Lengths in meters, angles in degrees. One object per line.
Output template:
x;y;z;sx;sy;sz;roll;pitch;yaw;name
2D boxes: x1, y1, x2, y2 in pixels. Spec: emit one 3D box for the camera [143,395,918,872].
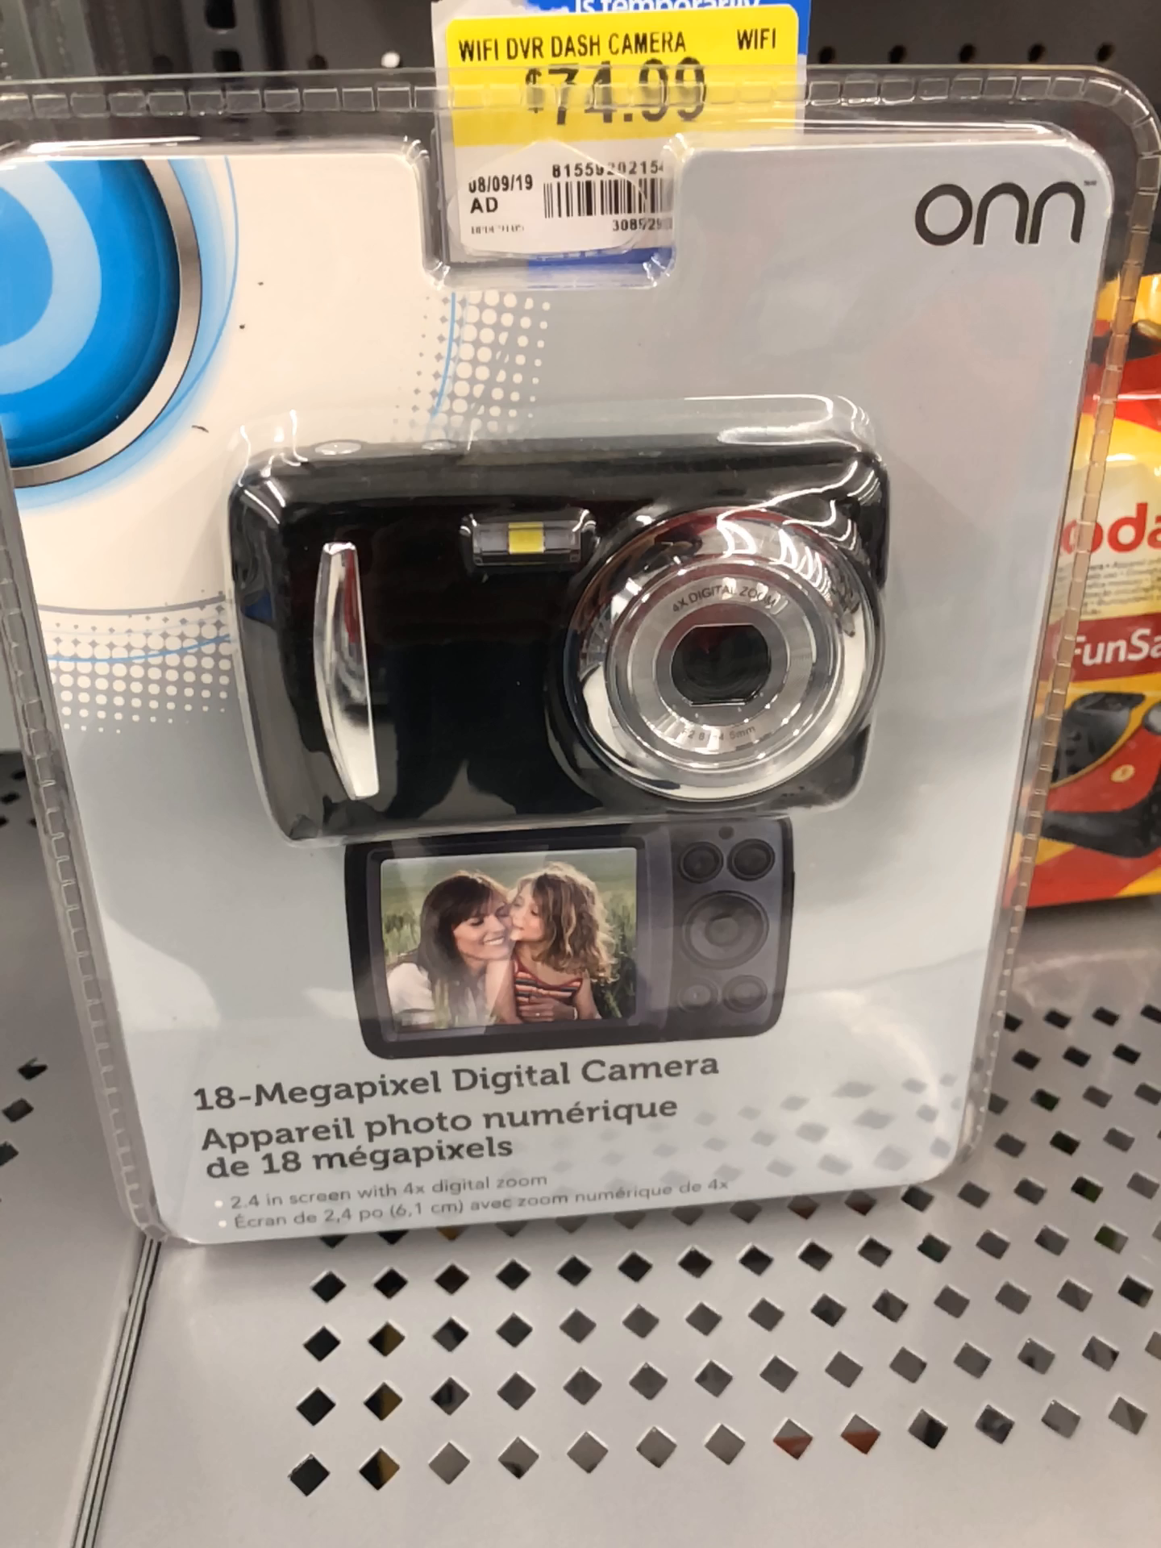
-0.006;-0.021;0.196;0.100;0.060;0.030;-3;29;-3;camera
